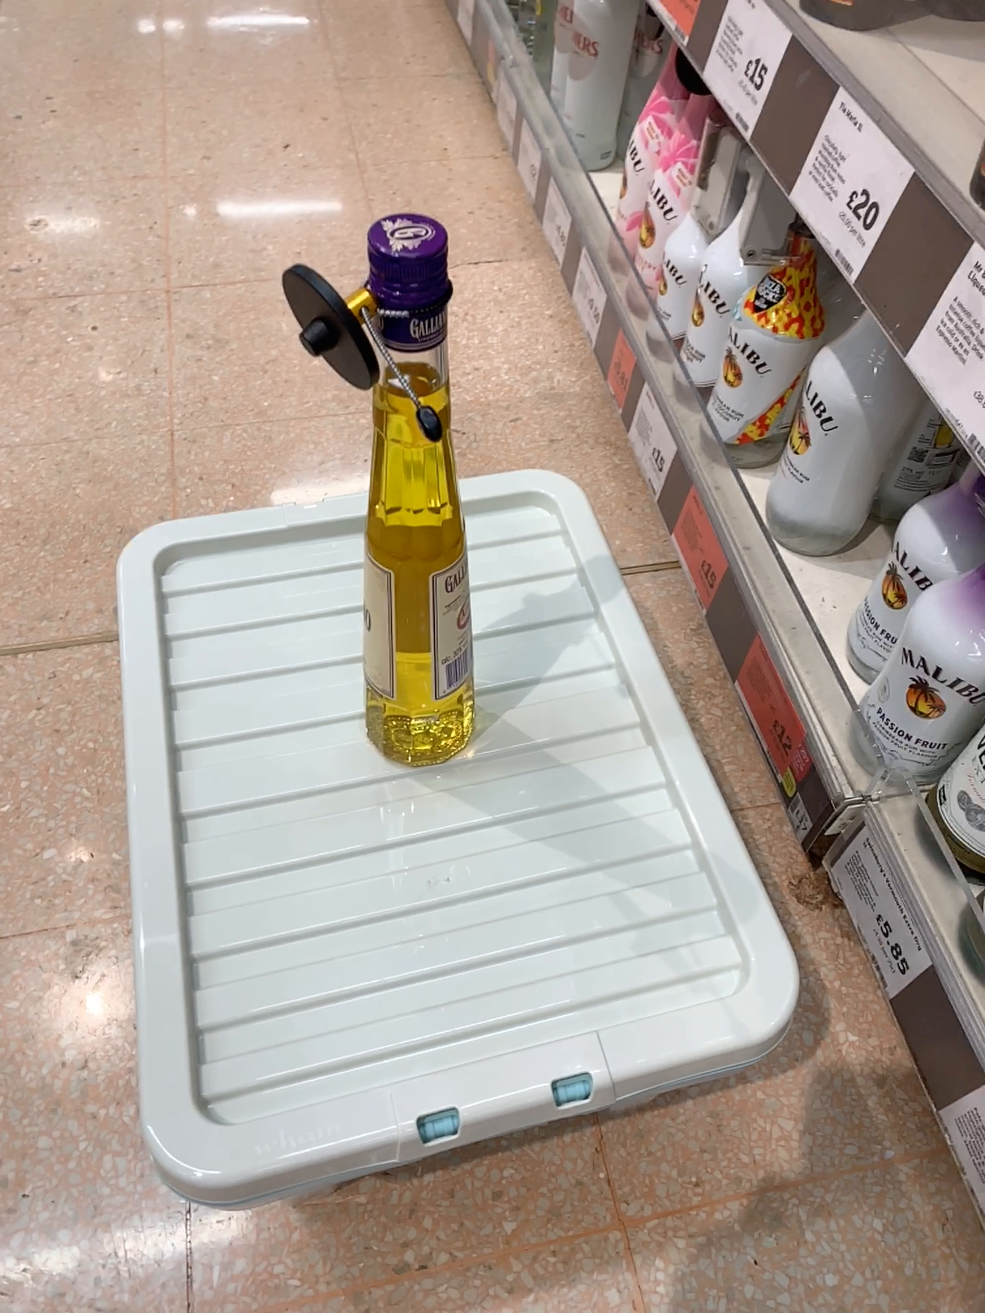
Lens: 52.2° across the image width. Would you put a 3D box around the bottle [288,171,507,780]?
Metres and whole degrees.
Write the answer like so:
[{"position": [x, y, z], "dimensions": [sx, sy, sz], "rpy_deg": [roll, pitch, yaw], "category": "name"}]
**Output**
[{"position": [-0.041, -0.060, 0.524], "dimensions": [0.070, 0.347, 0.073], "rpy_deg": [1, 53, -2], "category": "bottle"}]
